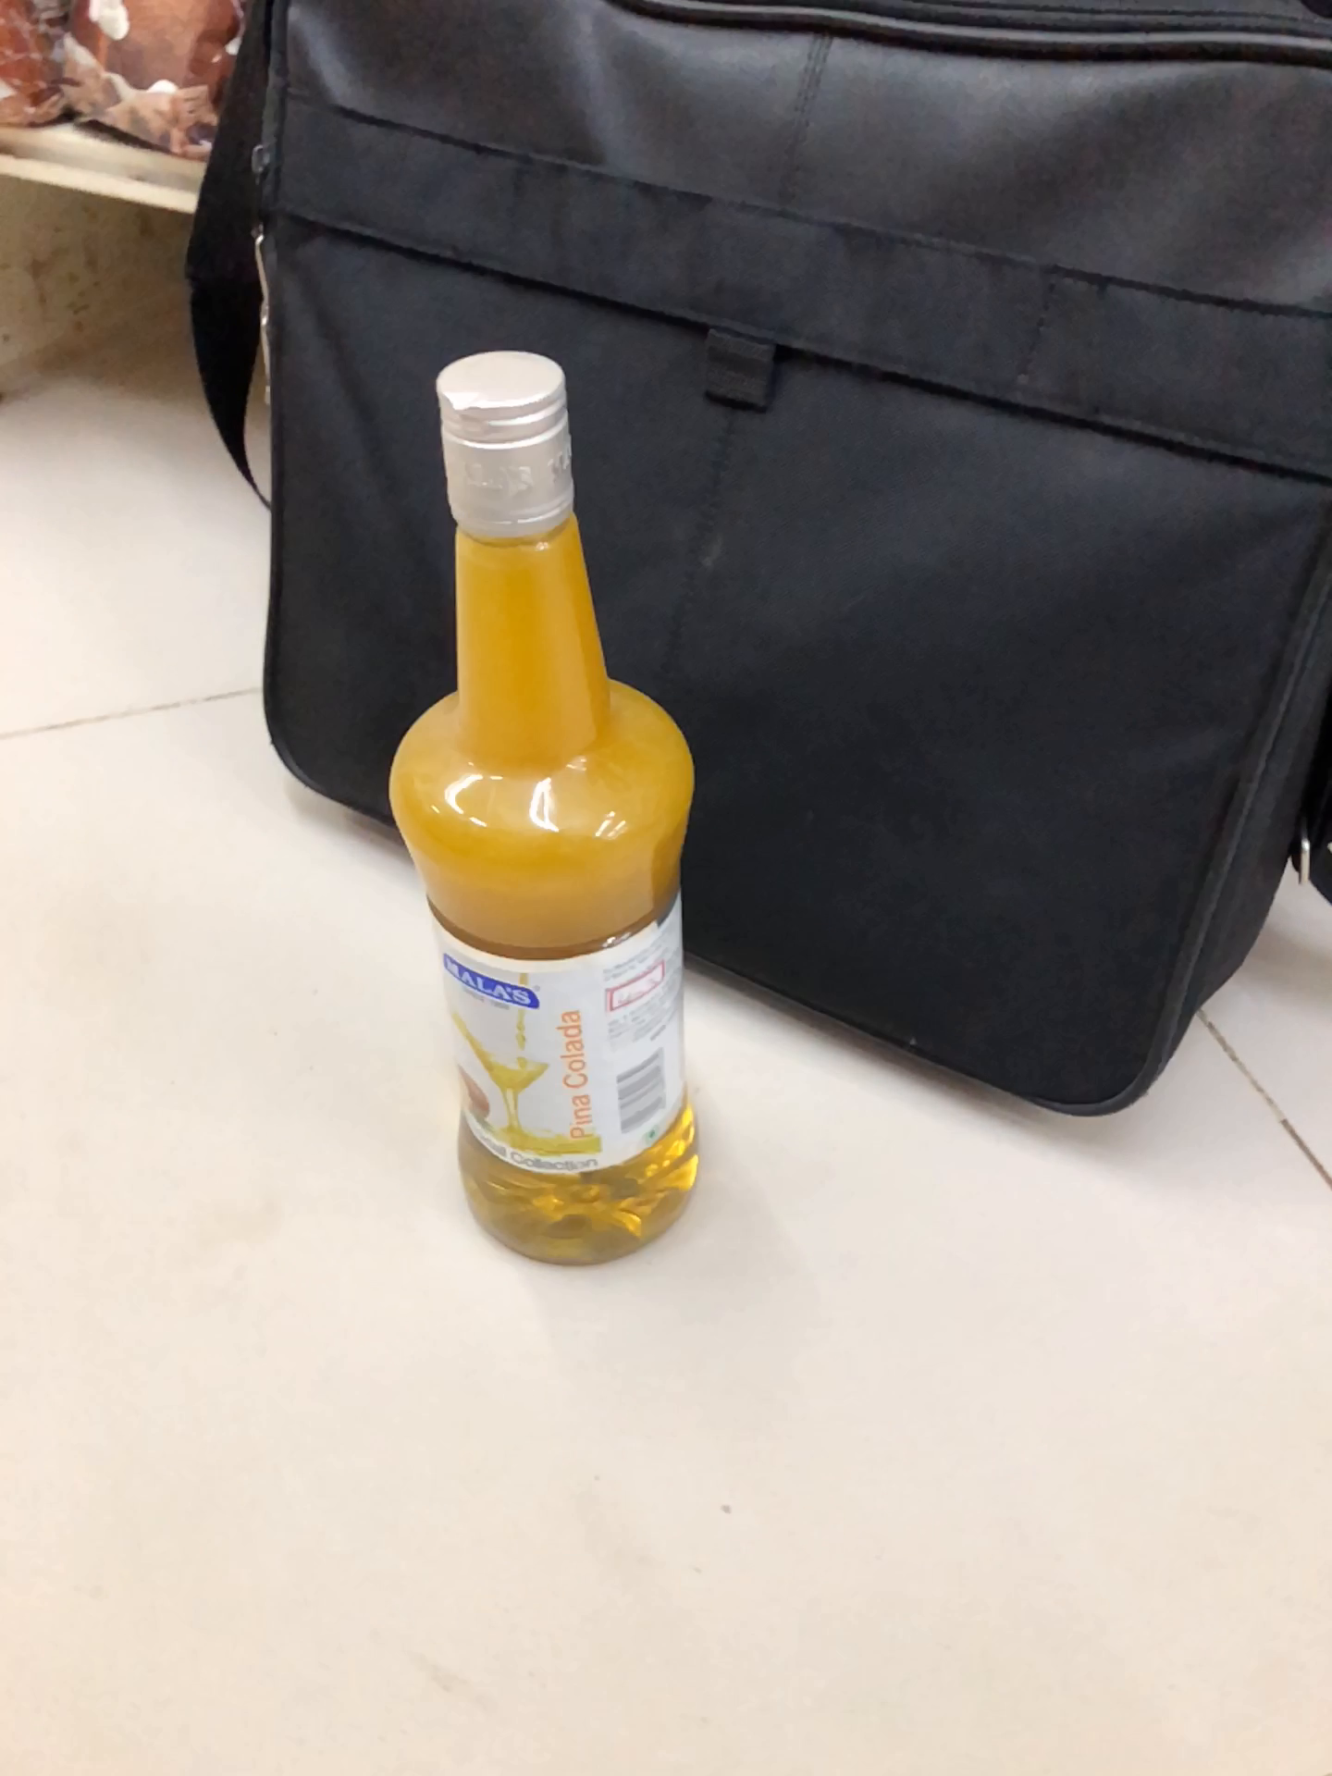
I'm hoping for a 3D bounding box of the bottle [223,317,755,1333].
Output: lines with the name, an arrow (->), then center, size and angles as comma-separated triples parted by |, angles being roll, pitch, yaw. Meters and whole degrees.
bottle -> -0.035, 0.001, 0.424 | 0.090, 0.288, 0.081 | 17, 45, 19
